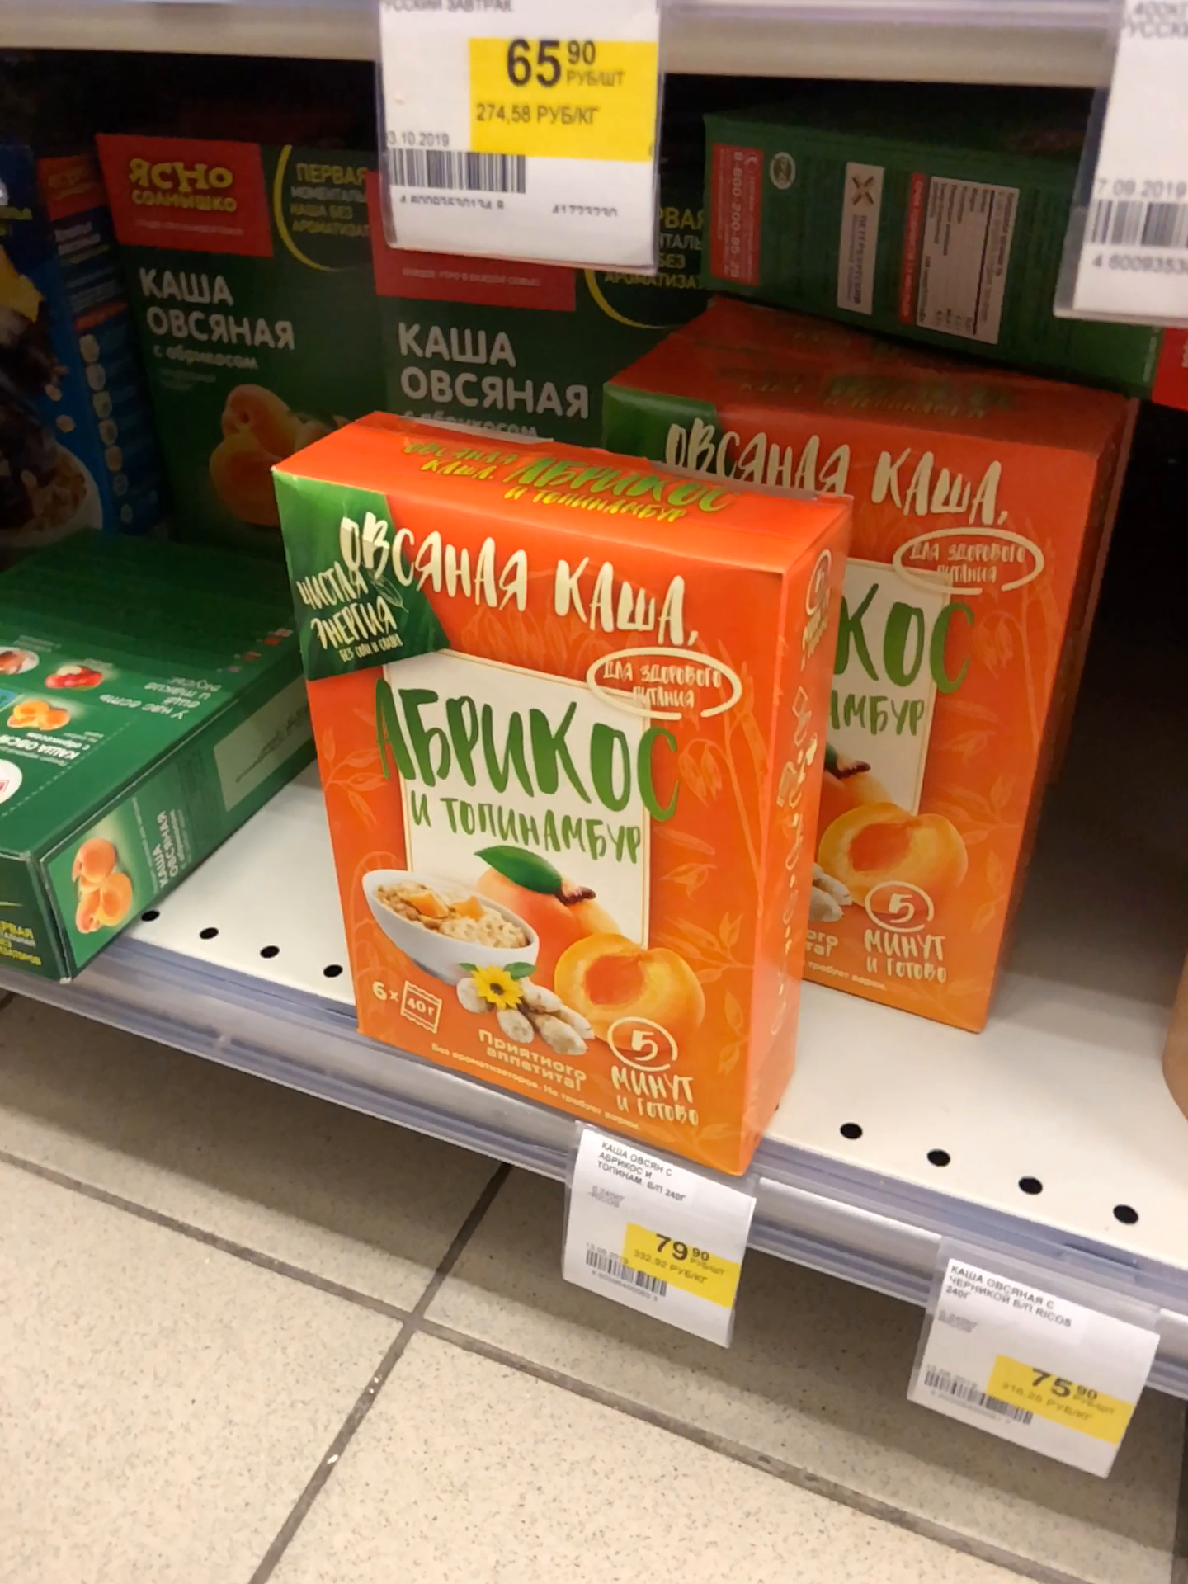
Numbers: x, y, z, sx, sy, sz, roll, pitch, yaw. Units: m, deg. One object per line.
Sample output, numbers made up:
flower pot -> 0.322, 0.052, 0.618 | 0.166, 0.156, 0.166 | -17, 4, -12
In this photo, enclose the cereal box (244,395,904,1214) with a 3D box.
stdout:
cereal box -> -0.005, 0.006, 0.345 | 0.140, 0.189, 0.050 | 16, 38, 23
